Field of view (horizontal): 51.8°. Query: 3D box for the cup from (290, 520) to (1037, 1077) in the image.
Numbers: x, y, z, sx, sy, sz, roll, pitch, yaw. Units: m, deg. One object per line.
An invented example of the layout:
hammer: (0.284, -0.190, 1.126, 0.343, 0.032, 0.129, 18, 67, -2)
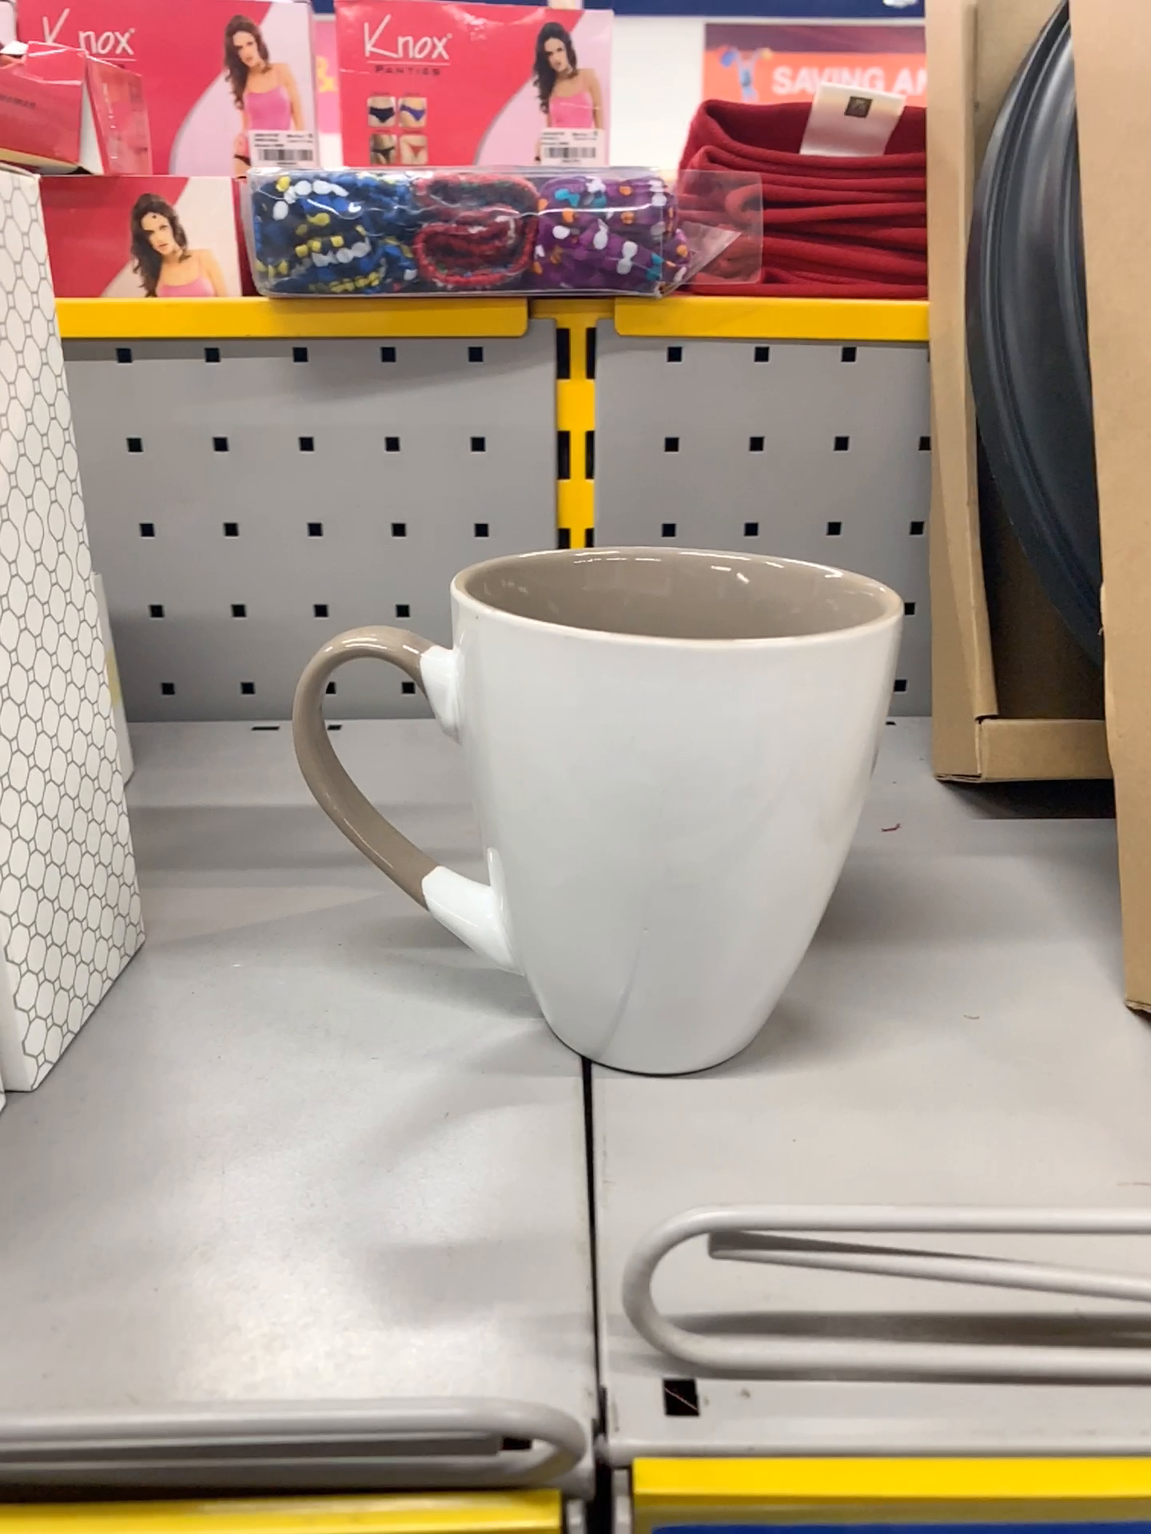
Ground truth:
cup: (0.018, 0.000, 0.287, 0.140, 0.100, 0.100, 1, 21, 3)
